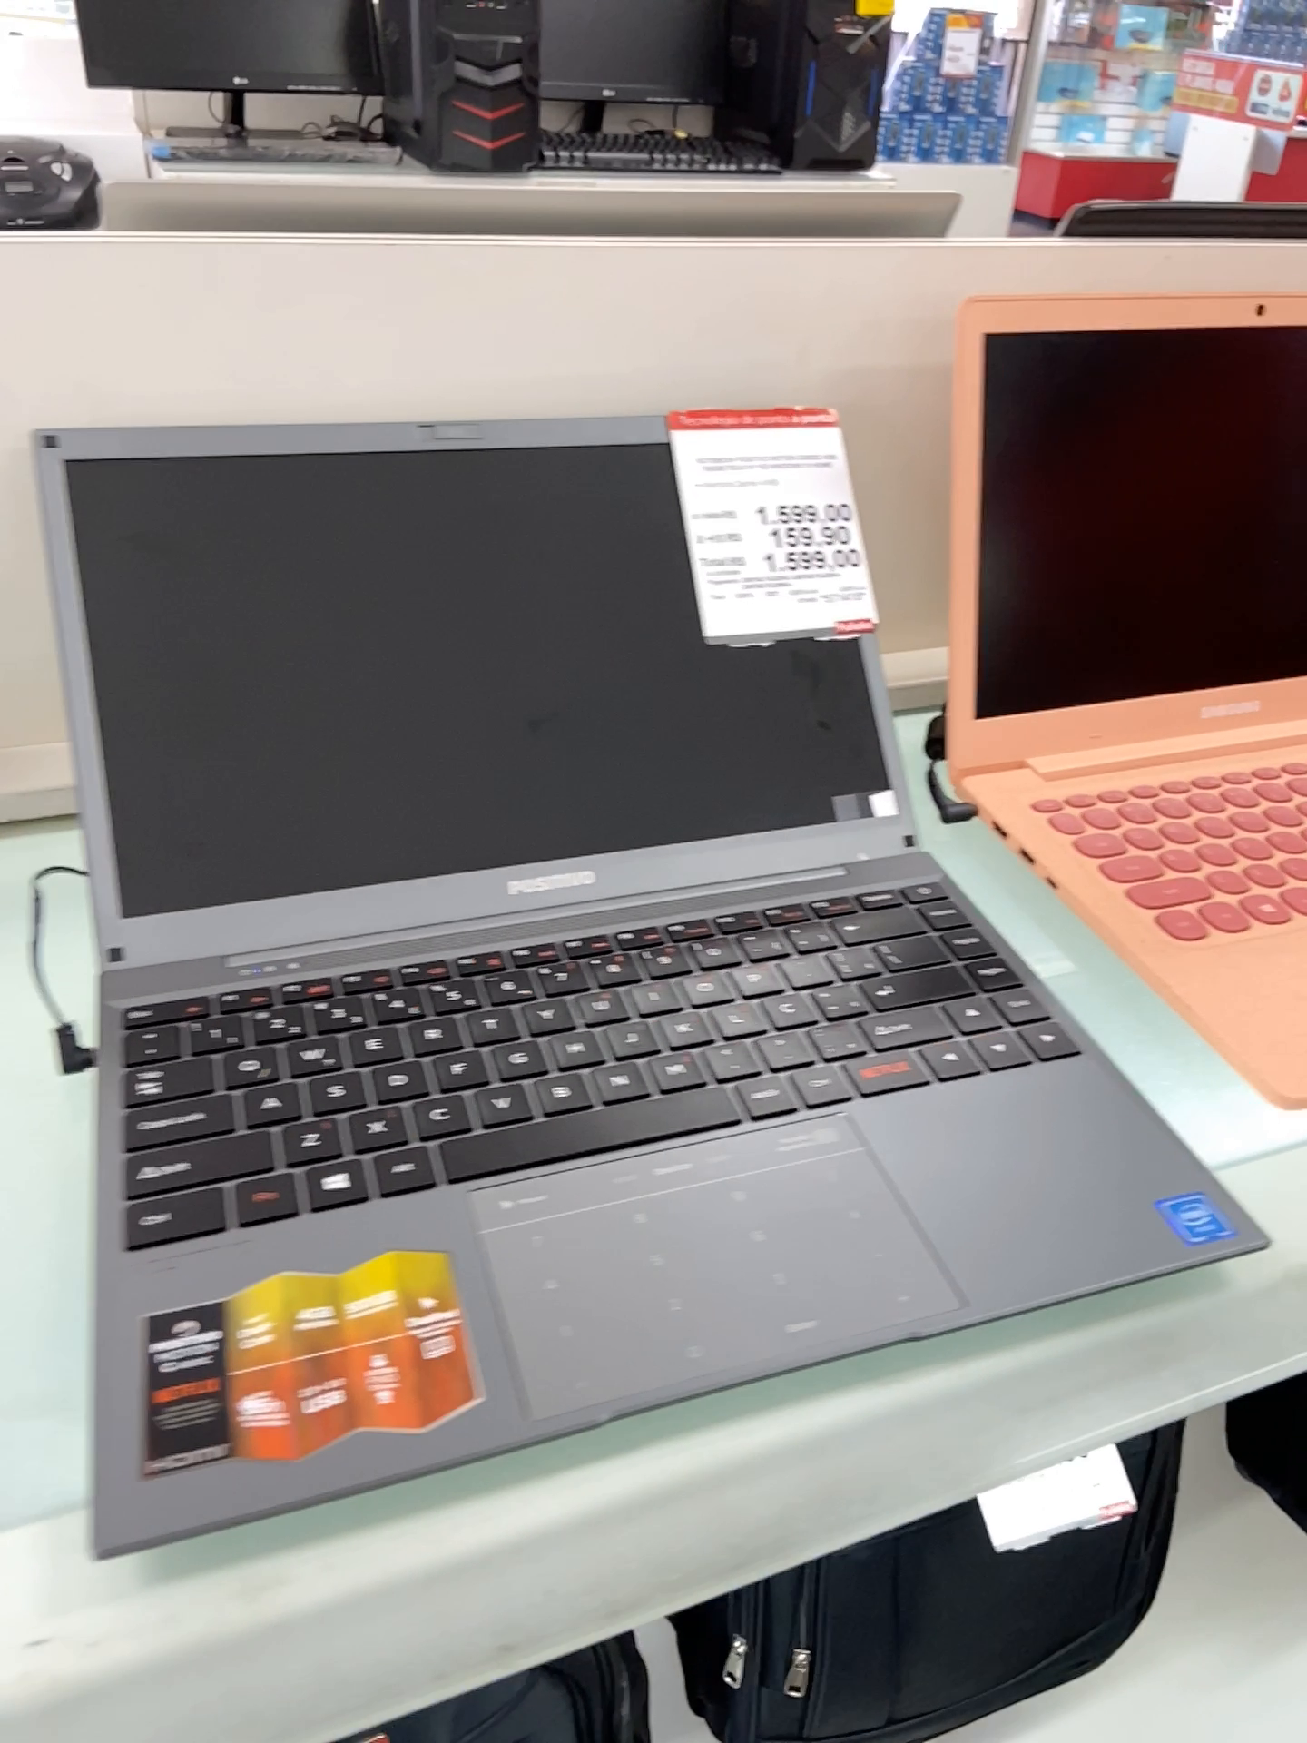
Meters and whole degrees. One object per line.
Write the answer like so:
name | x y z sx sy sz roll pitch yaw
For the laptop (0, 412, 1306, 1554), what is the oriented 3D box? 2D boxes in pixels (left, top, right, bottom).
laptop | -0.024 -0.027 0.461 0.334 0.144 0.368 -8 36 -17
